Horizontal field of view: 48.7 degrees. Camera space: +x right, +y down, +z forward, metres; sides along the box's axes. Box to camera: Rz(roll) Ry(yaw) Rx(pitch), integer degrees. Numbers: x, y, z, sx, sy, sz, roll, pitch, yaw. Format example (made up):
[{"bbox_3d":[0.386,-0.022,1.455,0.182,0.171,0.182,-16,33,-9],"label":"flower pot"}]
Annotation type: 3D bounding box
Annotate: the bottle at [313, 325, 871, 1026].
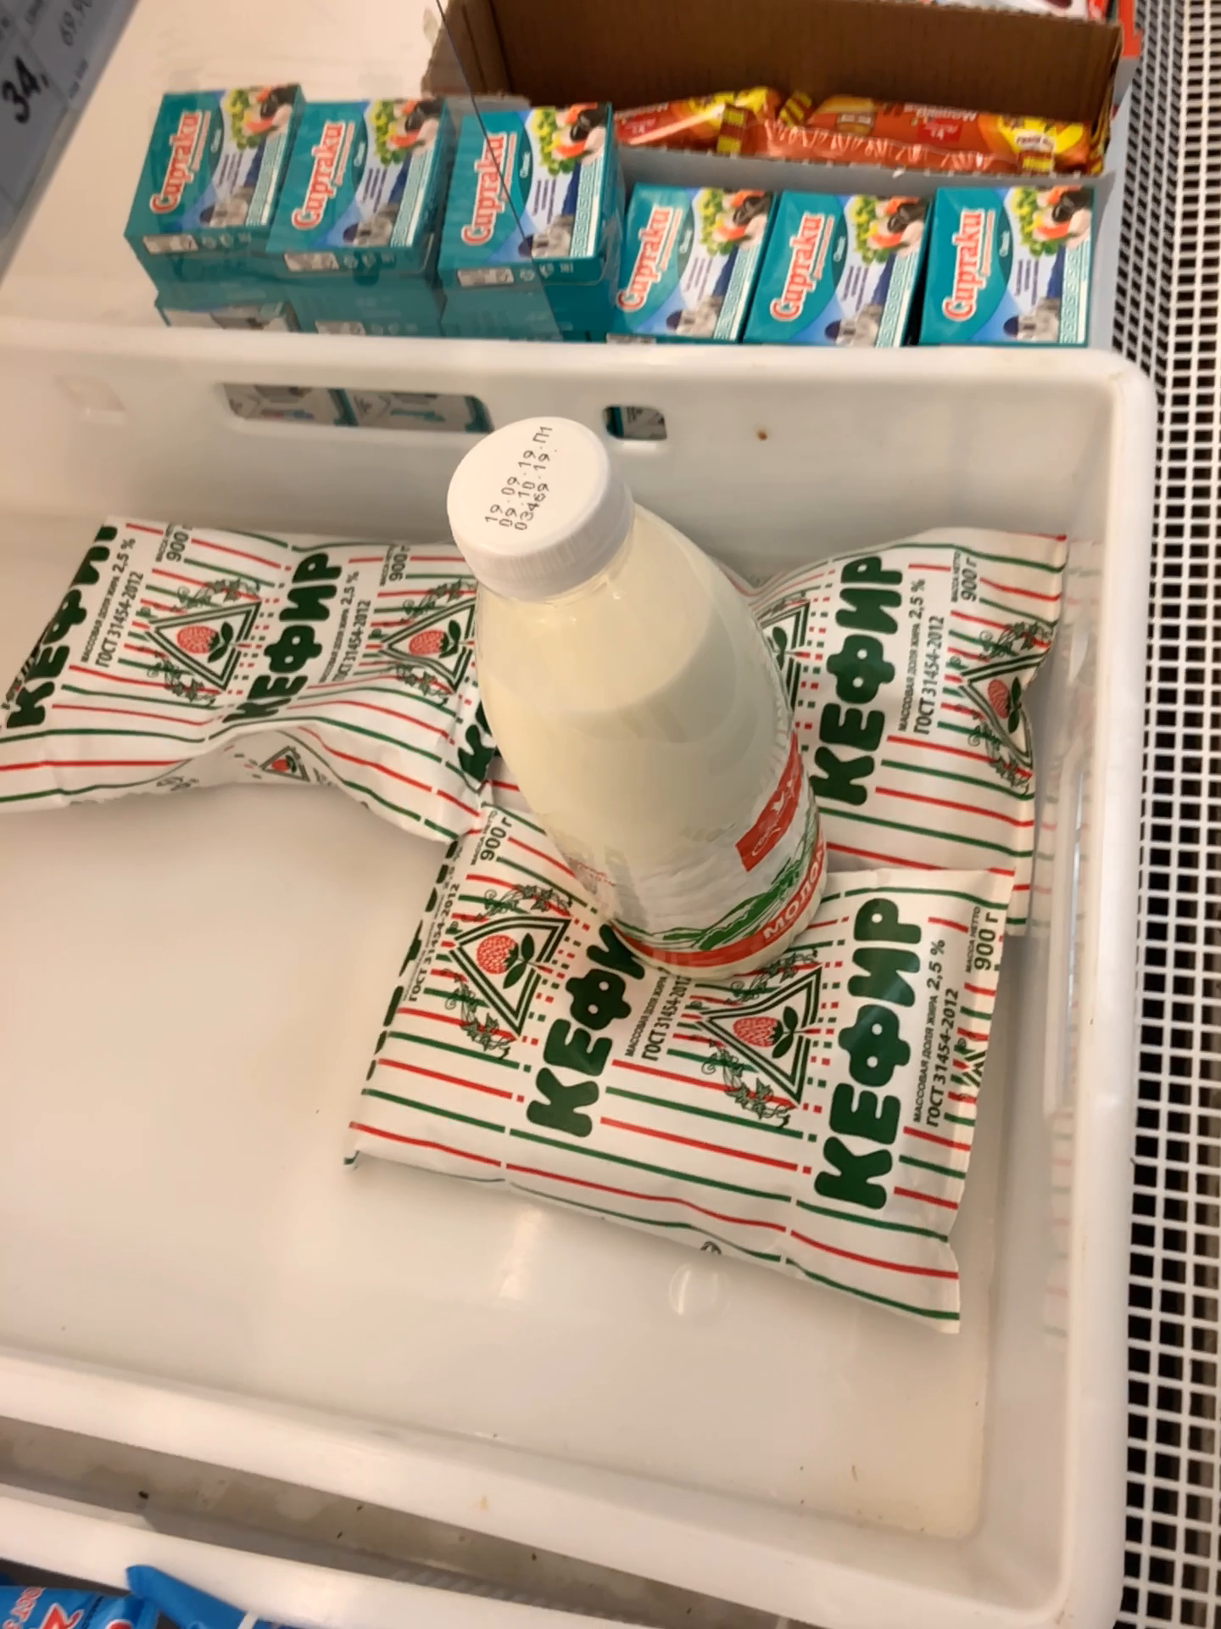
[{"bbox_3d":[0.014,-0.024,0.392,0.085,0.216,0.085,-6,63,12],"label":"bottle"}]
